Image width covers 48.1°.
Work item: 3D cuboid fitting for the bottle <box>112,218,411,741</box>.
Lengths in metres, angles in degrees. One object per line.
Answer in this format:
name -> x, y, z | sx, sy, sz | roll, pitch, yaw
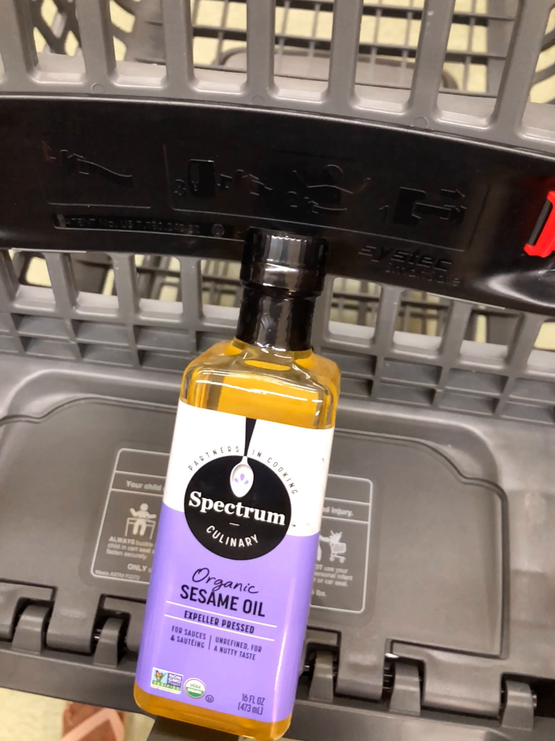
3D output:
bottle -> -0.009, 0.046, 0.253 | 0.080, 0.065, 0.200 | 10, 106, 4
